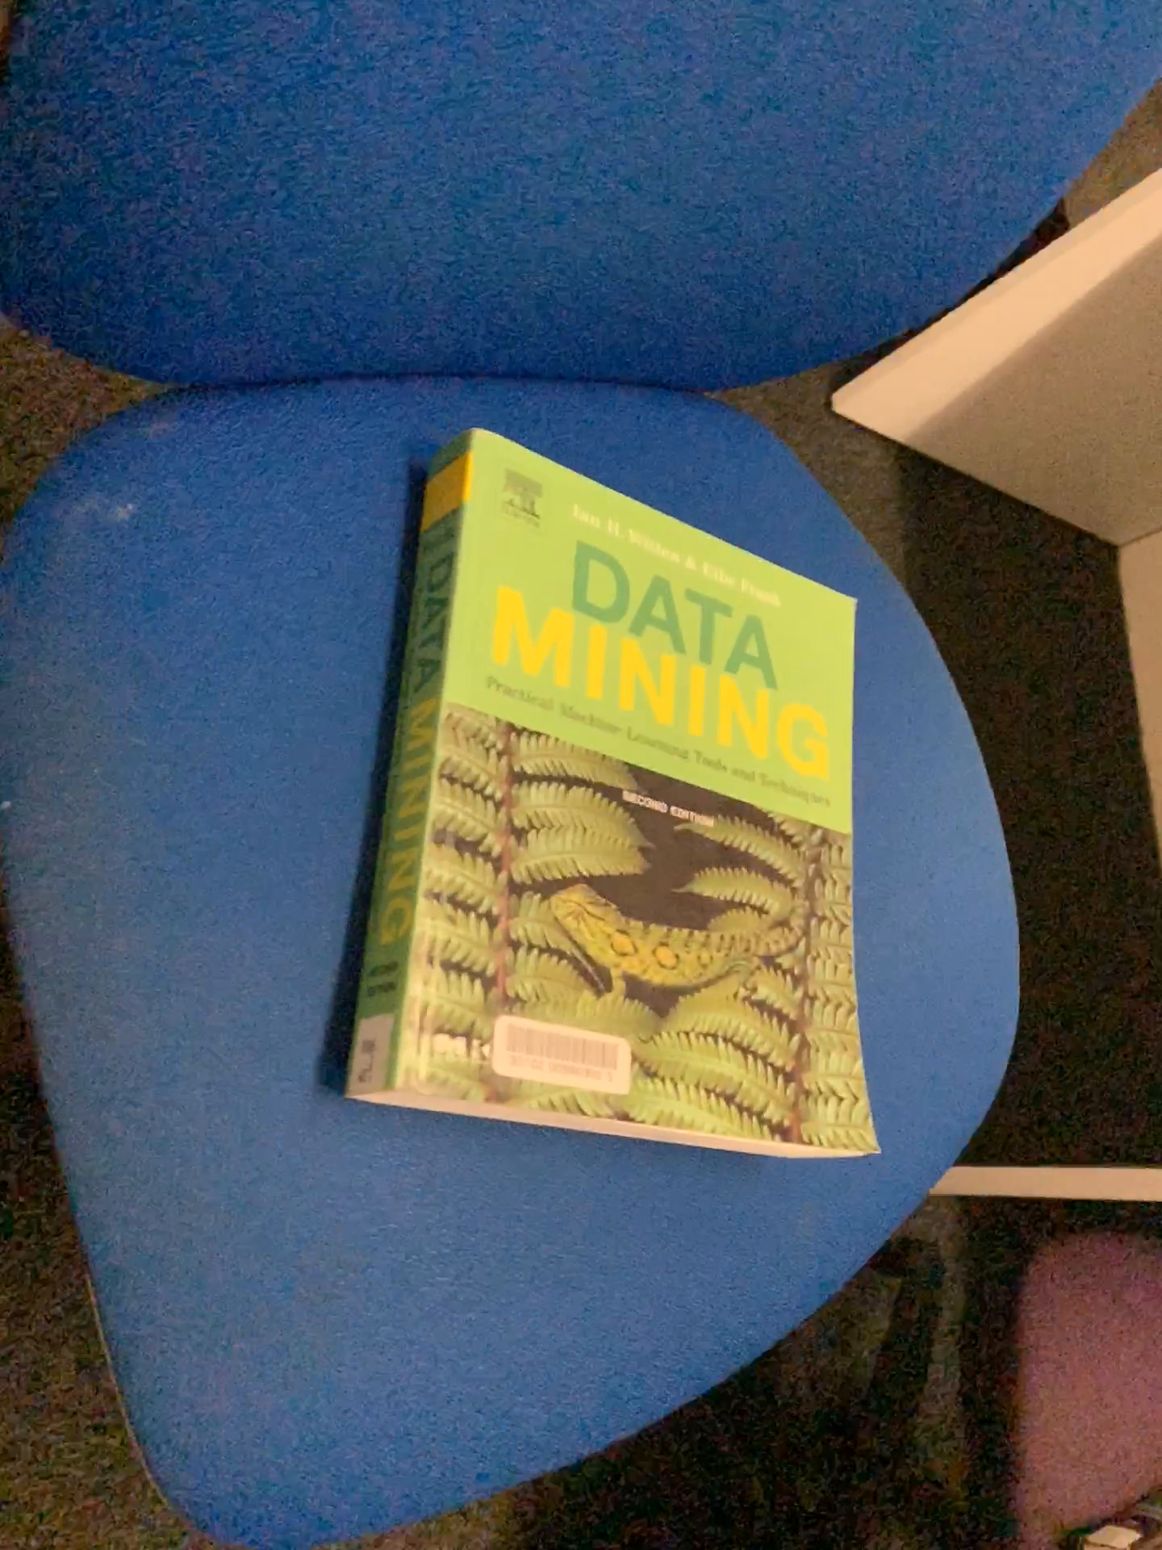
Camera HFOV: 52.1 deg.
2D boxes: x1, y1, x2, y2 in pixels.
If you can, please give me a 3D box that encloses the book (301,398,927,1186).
[{"bbox_3d":[0.030,0.016,0.441,0.221,0.050,0.241,17,66,-29],"label":"book"}]
